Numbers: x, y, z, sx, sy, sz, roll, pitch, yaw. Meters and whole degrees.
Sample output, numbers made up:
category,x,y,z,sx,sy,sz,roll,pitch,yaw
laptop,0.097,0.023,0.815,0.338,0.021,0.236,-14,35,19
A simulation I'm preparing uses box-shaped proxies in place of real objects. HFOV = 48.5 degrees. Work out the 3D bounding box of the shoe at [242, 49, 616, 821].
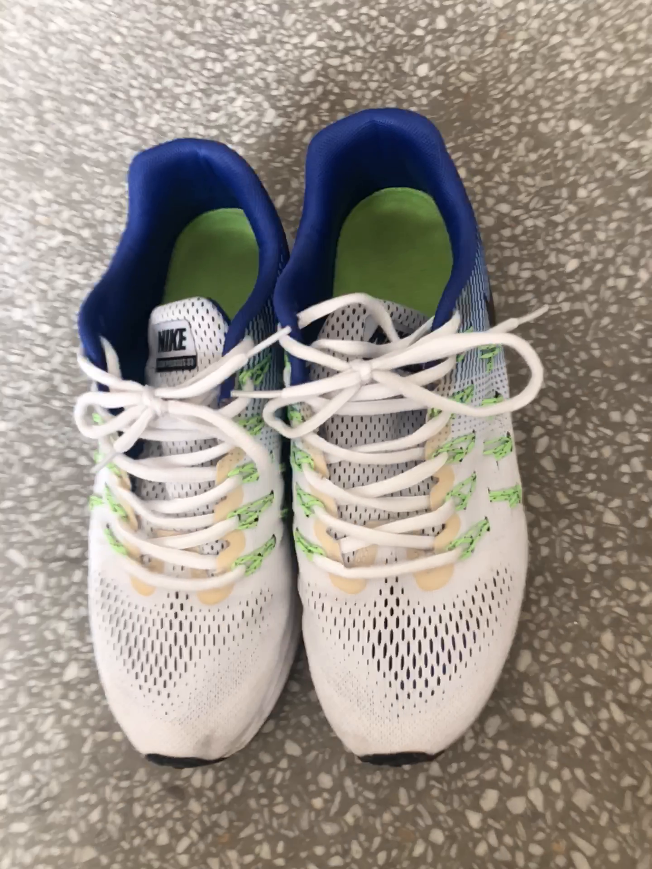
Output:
category,x,y,z,sx,sy,sz,roll,pitch,yaw
shoe,0.039,-0.002,0.311,0.111,0.114,0.275,-3,73,10

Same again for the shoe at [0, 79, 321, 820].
category,x,y,z,sx,sy,sz,roll,pitch,yaw
shoe,-0.071,0.003,0.329,0.113,0.114,0.282,-2,73,10
